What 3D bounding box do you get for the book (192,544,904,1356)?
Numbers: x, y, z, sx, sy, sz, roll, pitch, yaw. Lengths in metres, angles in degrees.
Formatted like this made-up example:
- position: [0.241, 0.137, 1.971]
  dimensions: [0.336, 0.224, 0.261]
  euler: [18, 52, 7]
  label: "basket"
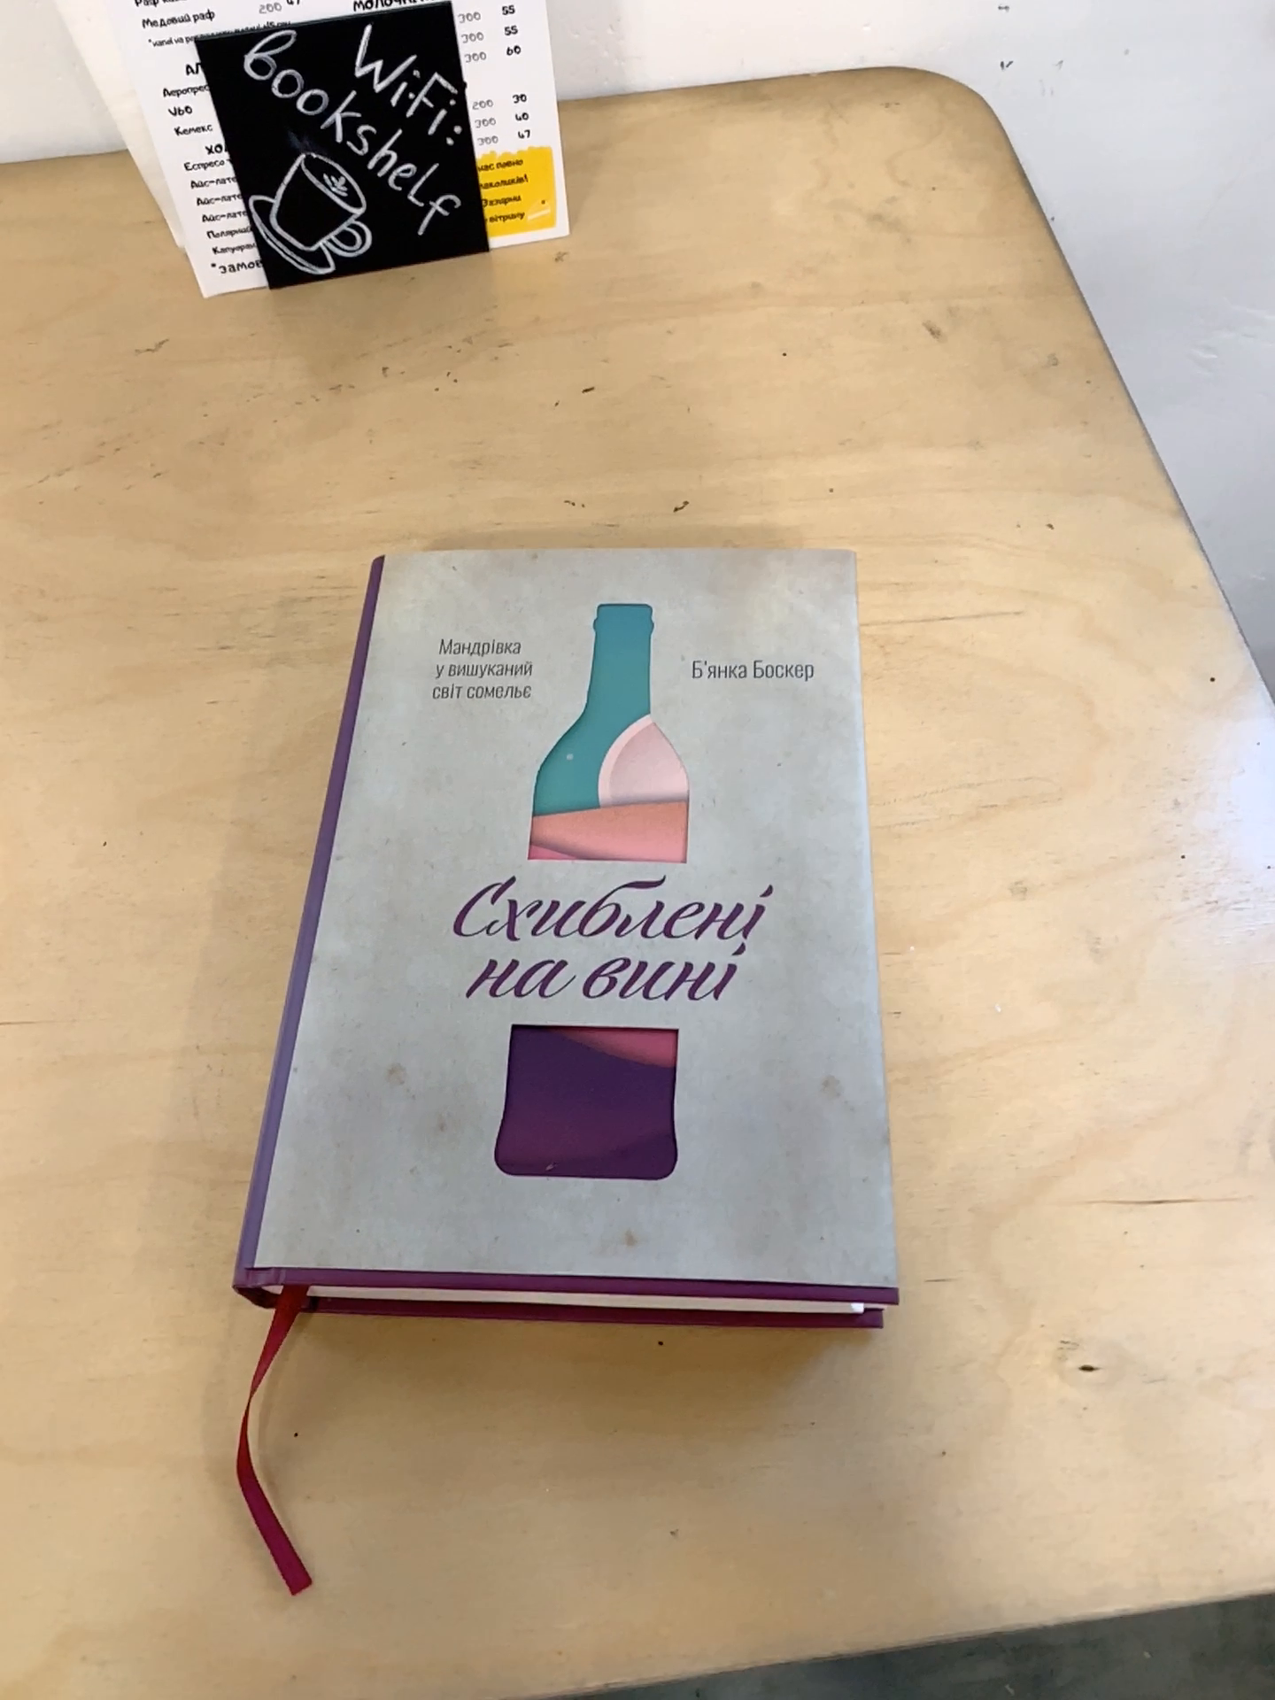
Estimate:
- position: [-0.014, 0.015, 0.351]
  dimensions: [0.150, 0.050, 0.214]
  euler: [1, 59, 3]
  label: "book"
